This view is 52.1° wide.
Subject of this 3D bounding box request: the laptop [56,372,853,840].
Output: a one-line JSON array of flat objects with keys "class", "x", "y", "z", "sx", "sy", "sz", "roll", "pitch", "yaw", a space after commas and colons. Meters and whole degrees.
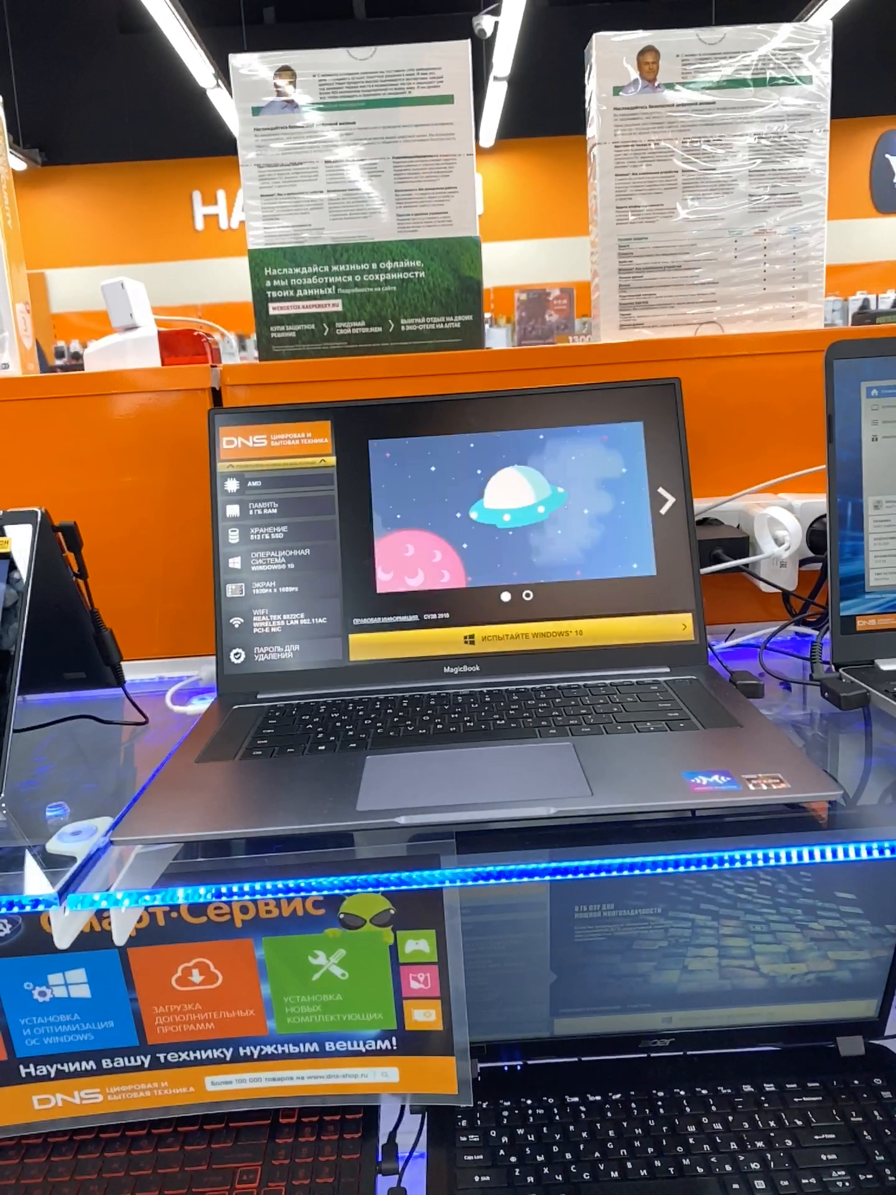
[{"class": "laptop", "x": 0.007, "y": -0.025, "z": 0.593, "sx": 0.368, "sy": 0.207, "sz": 0.315, "roll": -3, "pitch": 12, "yaw": 0}]
